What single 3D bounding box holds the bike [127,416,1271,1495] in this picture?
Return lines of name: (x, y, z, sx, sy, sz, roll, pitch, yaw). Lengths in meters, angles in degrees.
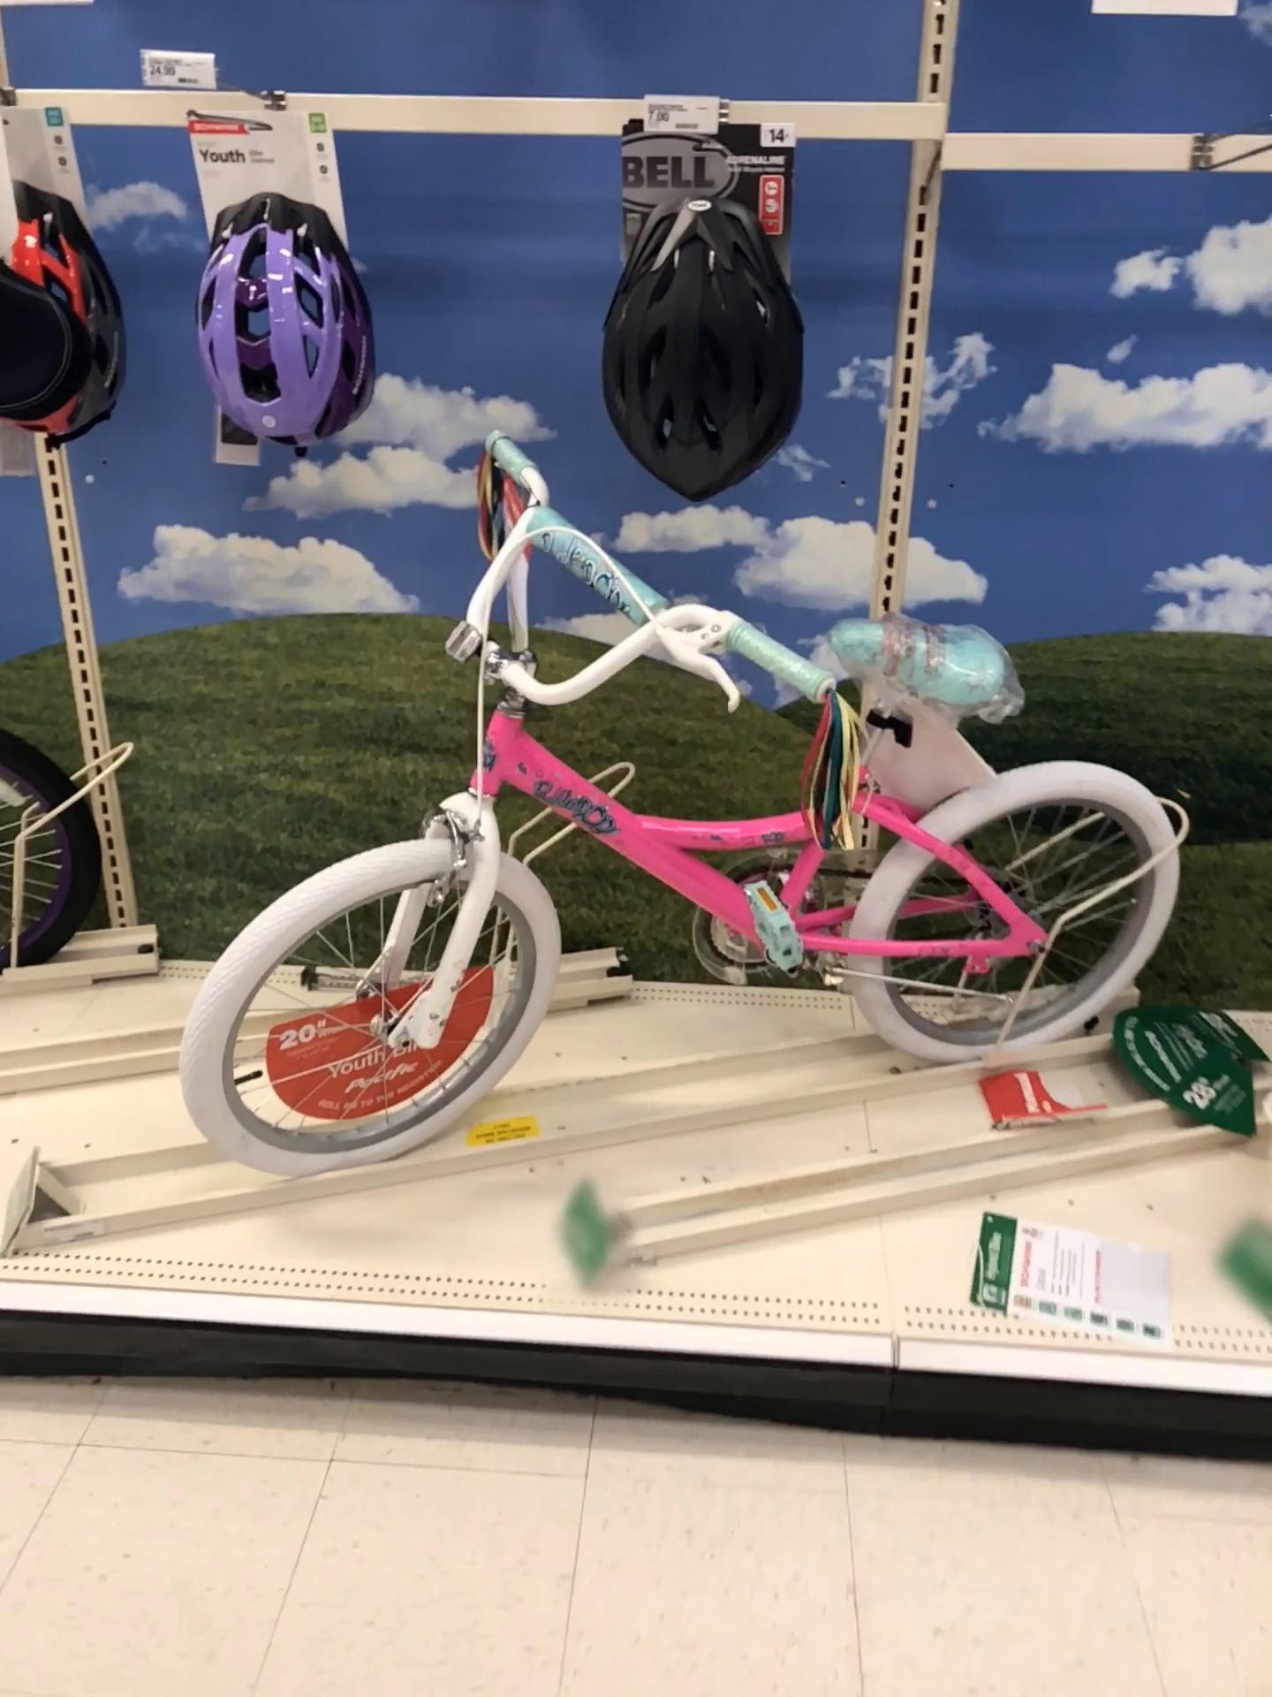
bike: (0.127, 0.018, 1.756, 1.346, 0.882, 0.730, -9, 26, -16)
